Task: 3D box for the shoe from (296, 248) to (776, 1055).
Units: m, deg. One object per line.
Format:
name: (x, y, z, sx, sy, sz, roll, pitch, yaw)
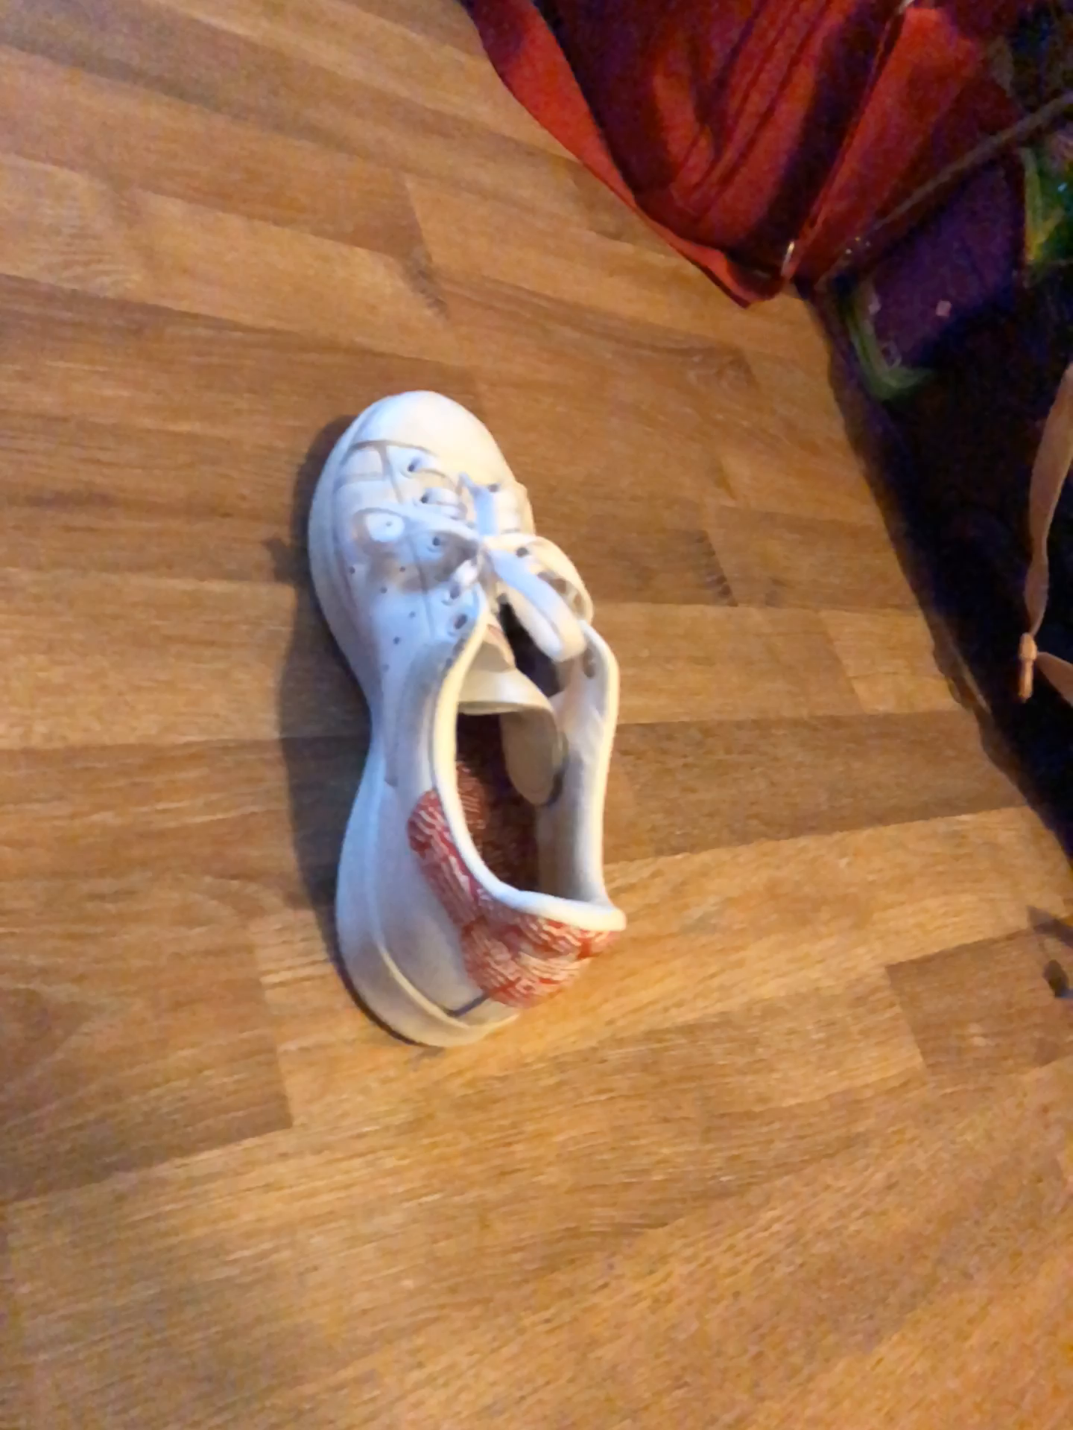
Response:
shoe: (-0.015, -0.022, 0.421, 0.100, 0.109, 0.251, 14, 54, -33)
